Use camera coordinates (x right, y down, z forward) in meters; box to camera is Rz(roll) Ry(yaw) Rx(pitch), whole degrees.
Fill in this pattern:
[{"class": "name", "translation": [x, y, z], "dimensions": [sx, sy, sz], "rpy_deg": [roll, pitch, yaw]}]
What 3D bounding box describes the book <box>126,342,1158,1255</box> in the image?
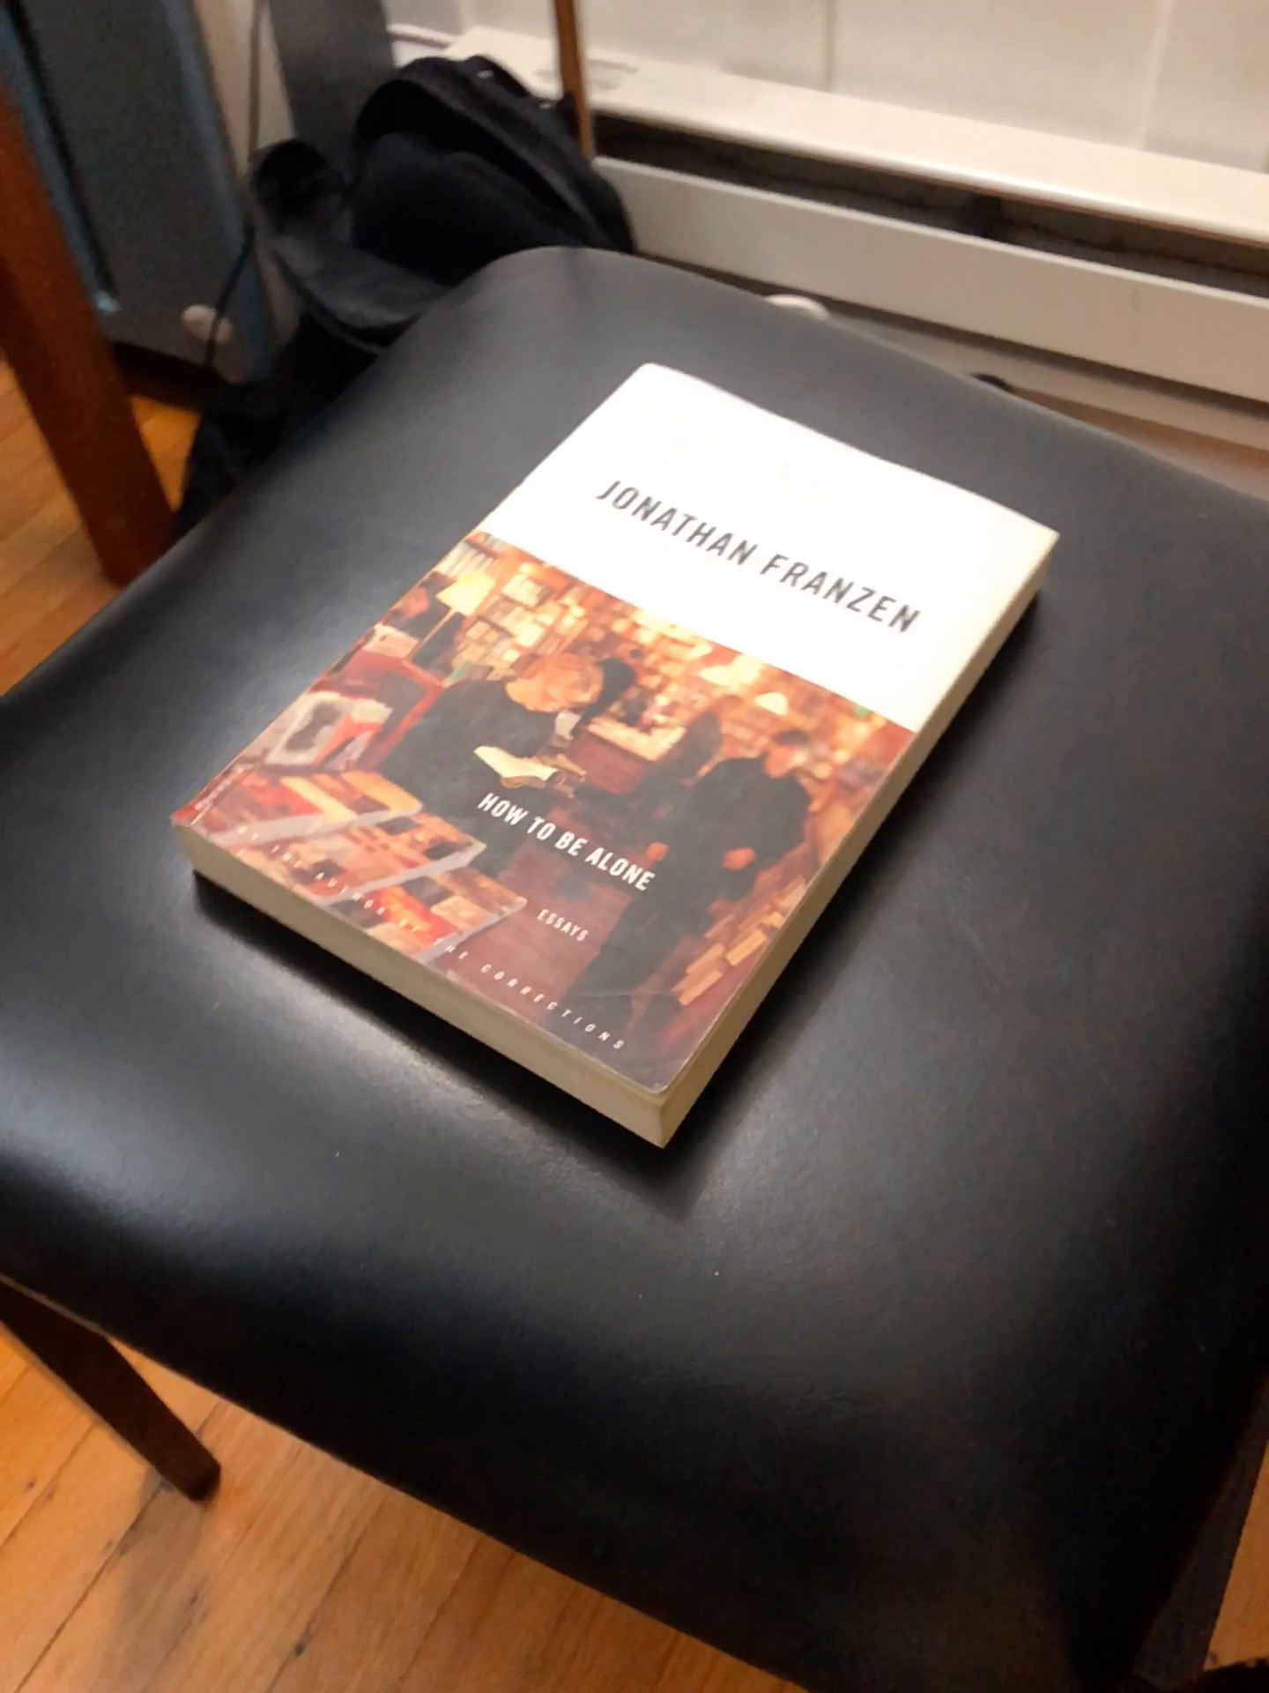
[{"class": "book", "translation": [0.013, -0.036, 0.370], "dimensions": [0.160, 0.040, 0.231], "rpy_deg": [26, 58, 22]}]
